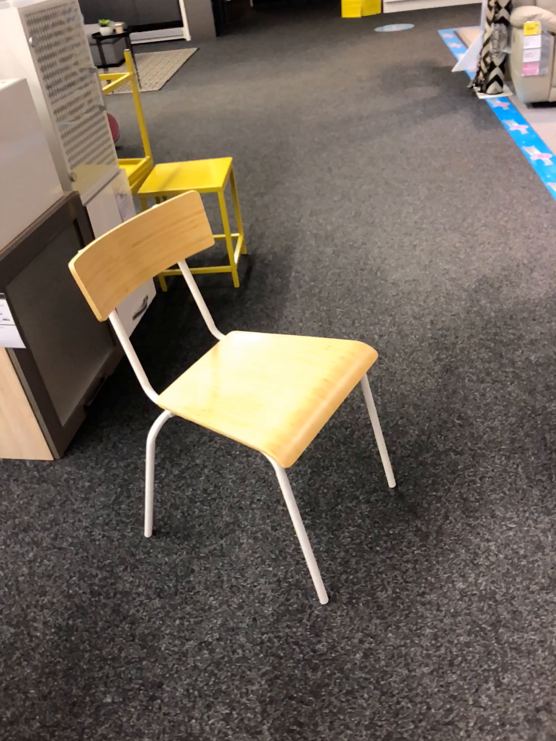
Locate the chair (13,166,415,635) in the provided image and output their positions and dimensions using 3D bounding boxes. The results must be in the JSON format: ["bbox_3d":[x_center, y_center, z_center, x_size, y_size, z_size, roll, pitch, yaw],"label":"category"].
[{"bbox_3d":[-0.060,0.041,1.415,0.580,0.816,0.543,14,41,27],"label":"chair"}]
